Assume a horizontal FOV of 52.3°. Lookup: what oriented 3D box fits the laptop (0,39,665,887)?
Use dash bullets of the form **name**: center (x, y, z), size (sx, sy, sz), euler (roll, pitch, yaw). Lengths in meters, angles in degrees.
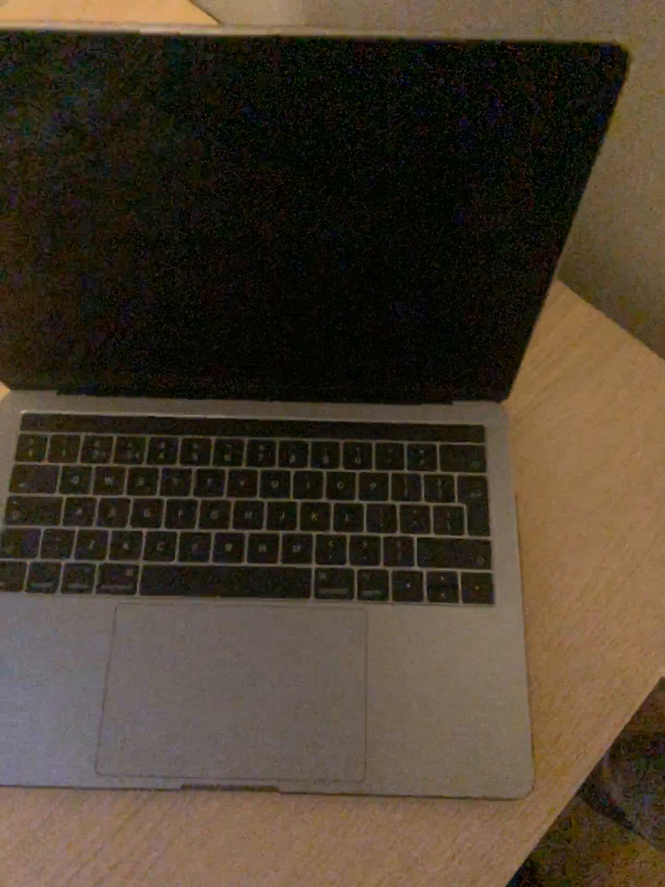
- **laptop**: center (-0.047, 0.015, 0.287), size (0.294, 0.198, 0.257), euler (2, 71, 1)
